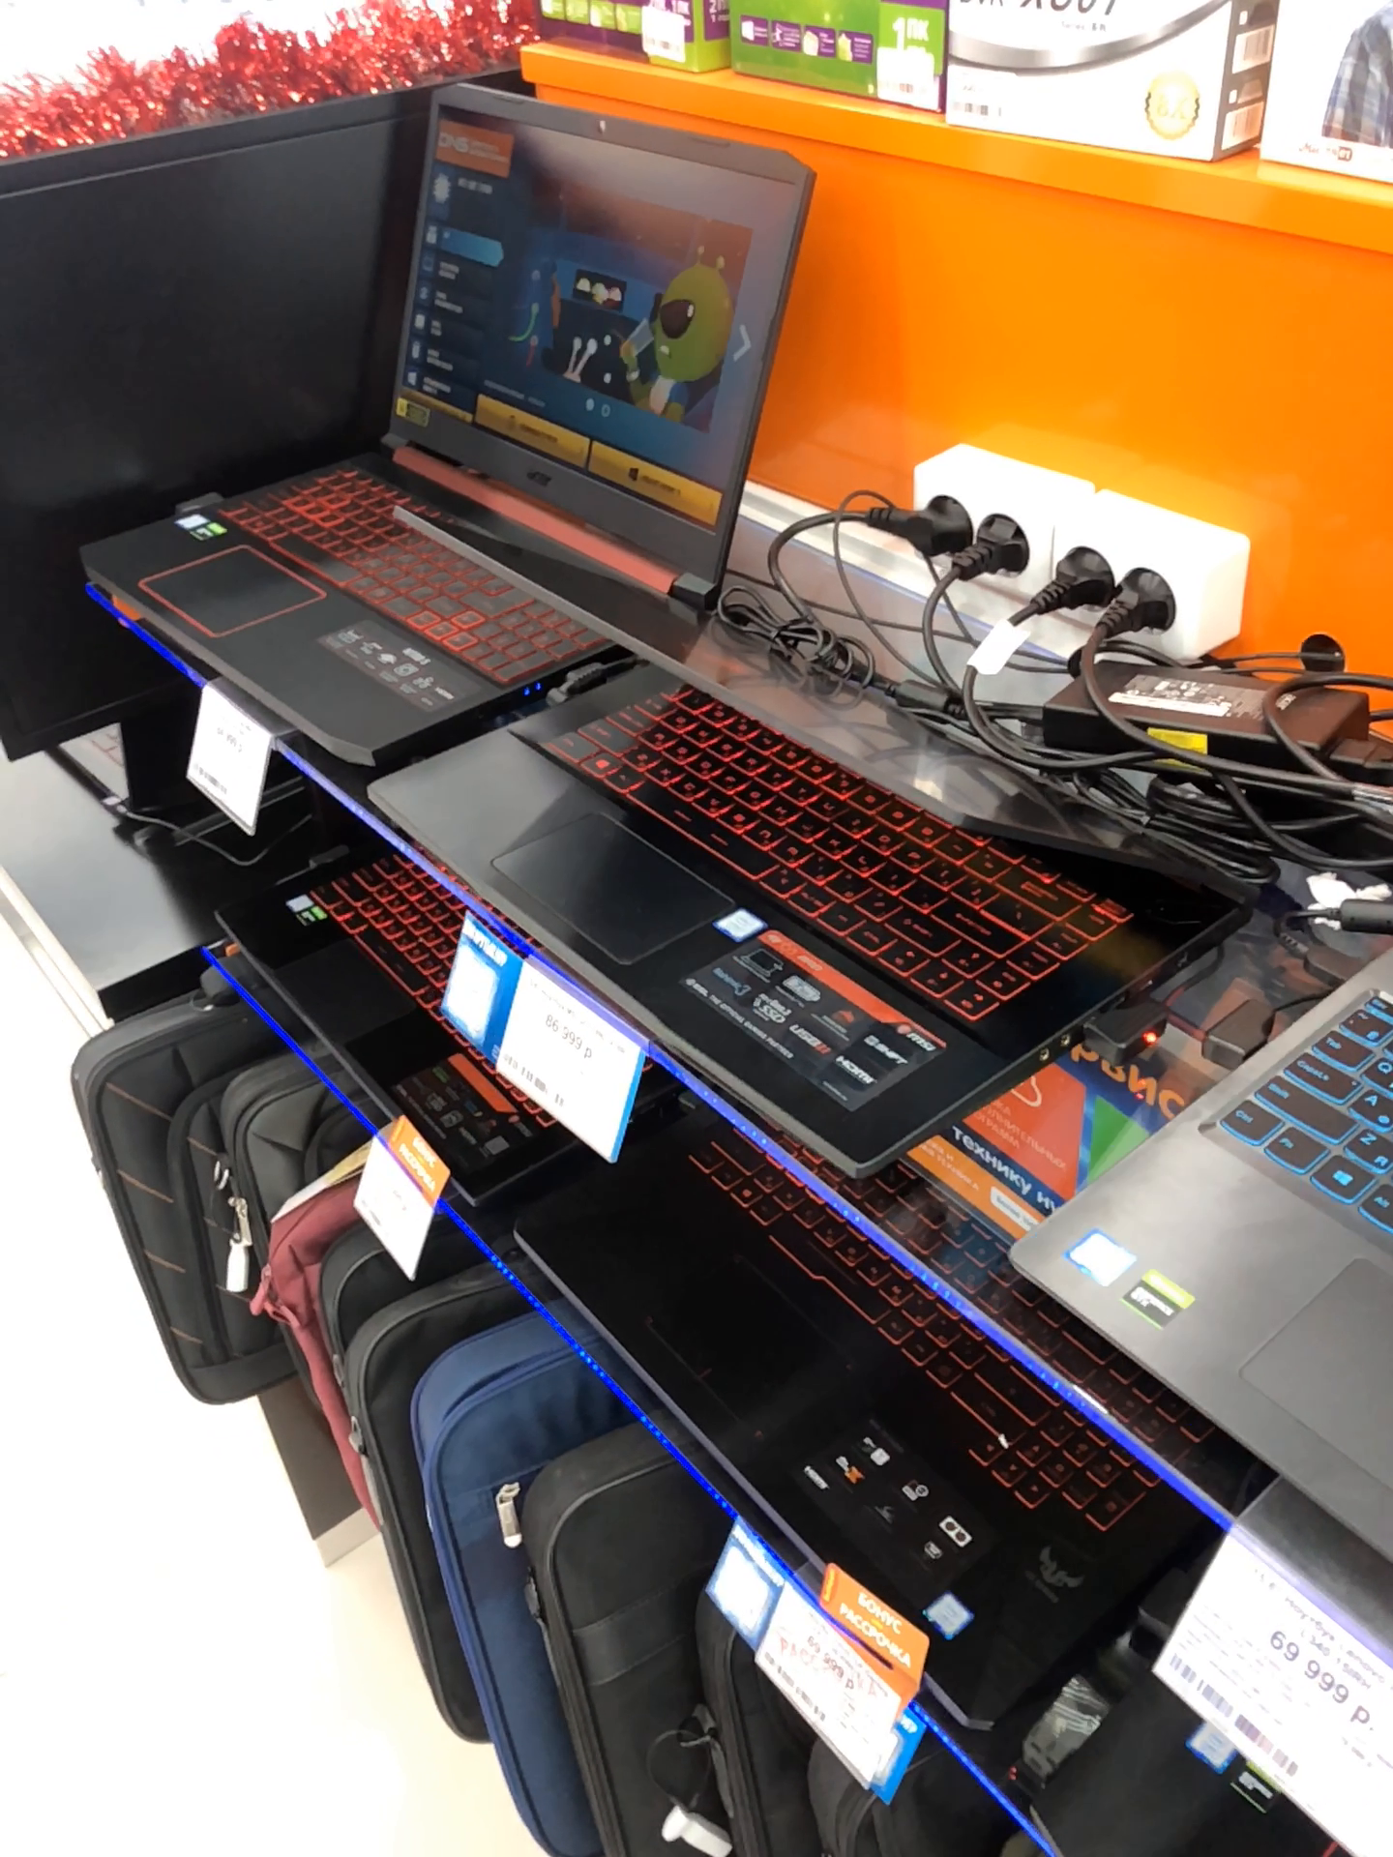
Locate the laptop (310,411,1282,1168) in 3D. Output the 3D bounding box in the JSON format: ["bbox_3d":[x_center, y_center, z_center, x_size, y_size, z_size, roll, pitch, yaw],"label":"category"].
[{"bbox_3d":[0.029,-0.092,0.679,0.226,0.134,0.348,-29,45,-29],"label":"laptop"}]

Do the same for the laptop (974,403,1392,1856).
[{"bbox_3d":[0.310,0.034,0.400,0.278,0.228,0.327,-25,40,-26],"label":"laptop"}]

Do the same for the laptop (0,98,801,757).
[{"bbox_3d":[-0.180,-0.333,0.930,0.330,0.225,0.366,-30,45,-30],"label":"laptop"}]
